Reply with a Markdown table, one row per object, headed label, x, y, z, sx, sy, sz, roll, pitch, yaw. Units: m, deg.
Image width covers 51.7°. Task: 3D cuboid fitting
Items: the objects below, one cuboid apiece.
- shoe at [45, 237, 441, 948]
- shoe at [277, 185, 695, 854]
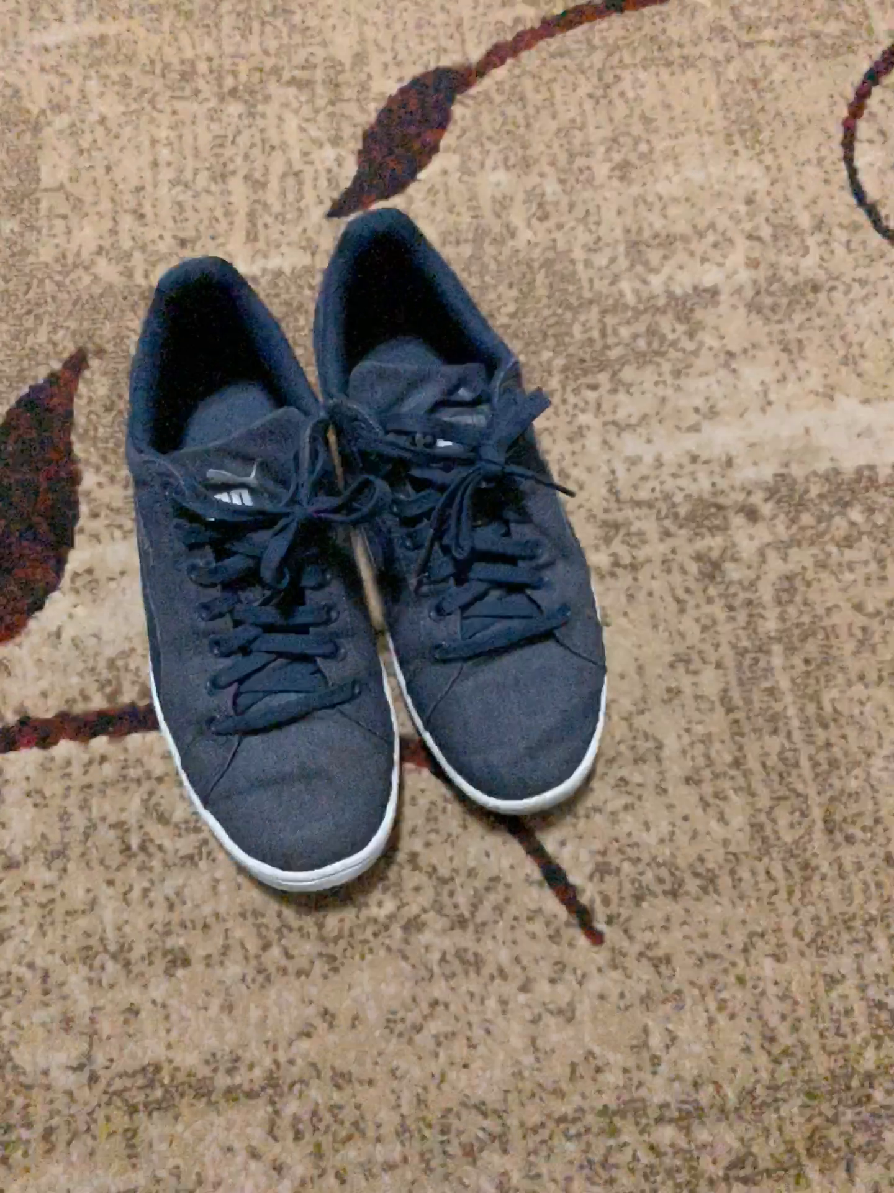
| label | x | y | z | sx | sy | sz | roll | pitch | yaw |
| --- | --- | --- | --- | --- | --- | --- | --- | --- | --- |
| shoe | -0.089 | -0.006 | 0.406 | 0.106 | 0.090 | 0.275 | -13 | 74 | -7 |
| shoe | 0.008 | -0.040 | 0.400 | 0.099 | 0.051 | 0.275 | -14 | 74 | -7 |
